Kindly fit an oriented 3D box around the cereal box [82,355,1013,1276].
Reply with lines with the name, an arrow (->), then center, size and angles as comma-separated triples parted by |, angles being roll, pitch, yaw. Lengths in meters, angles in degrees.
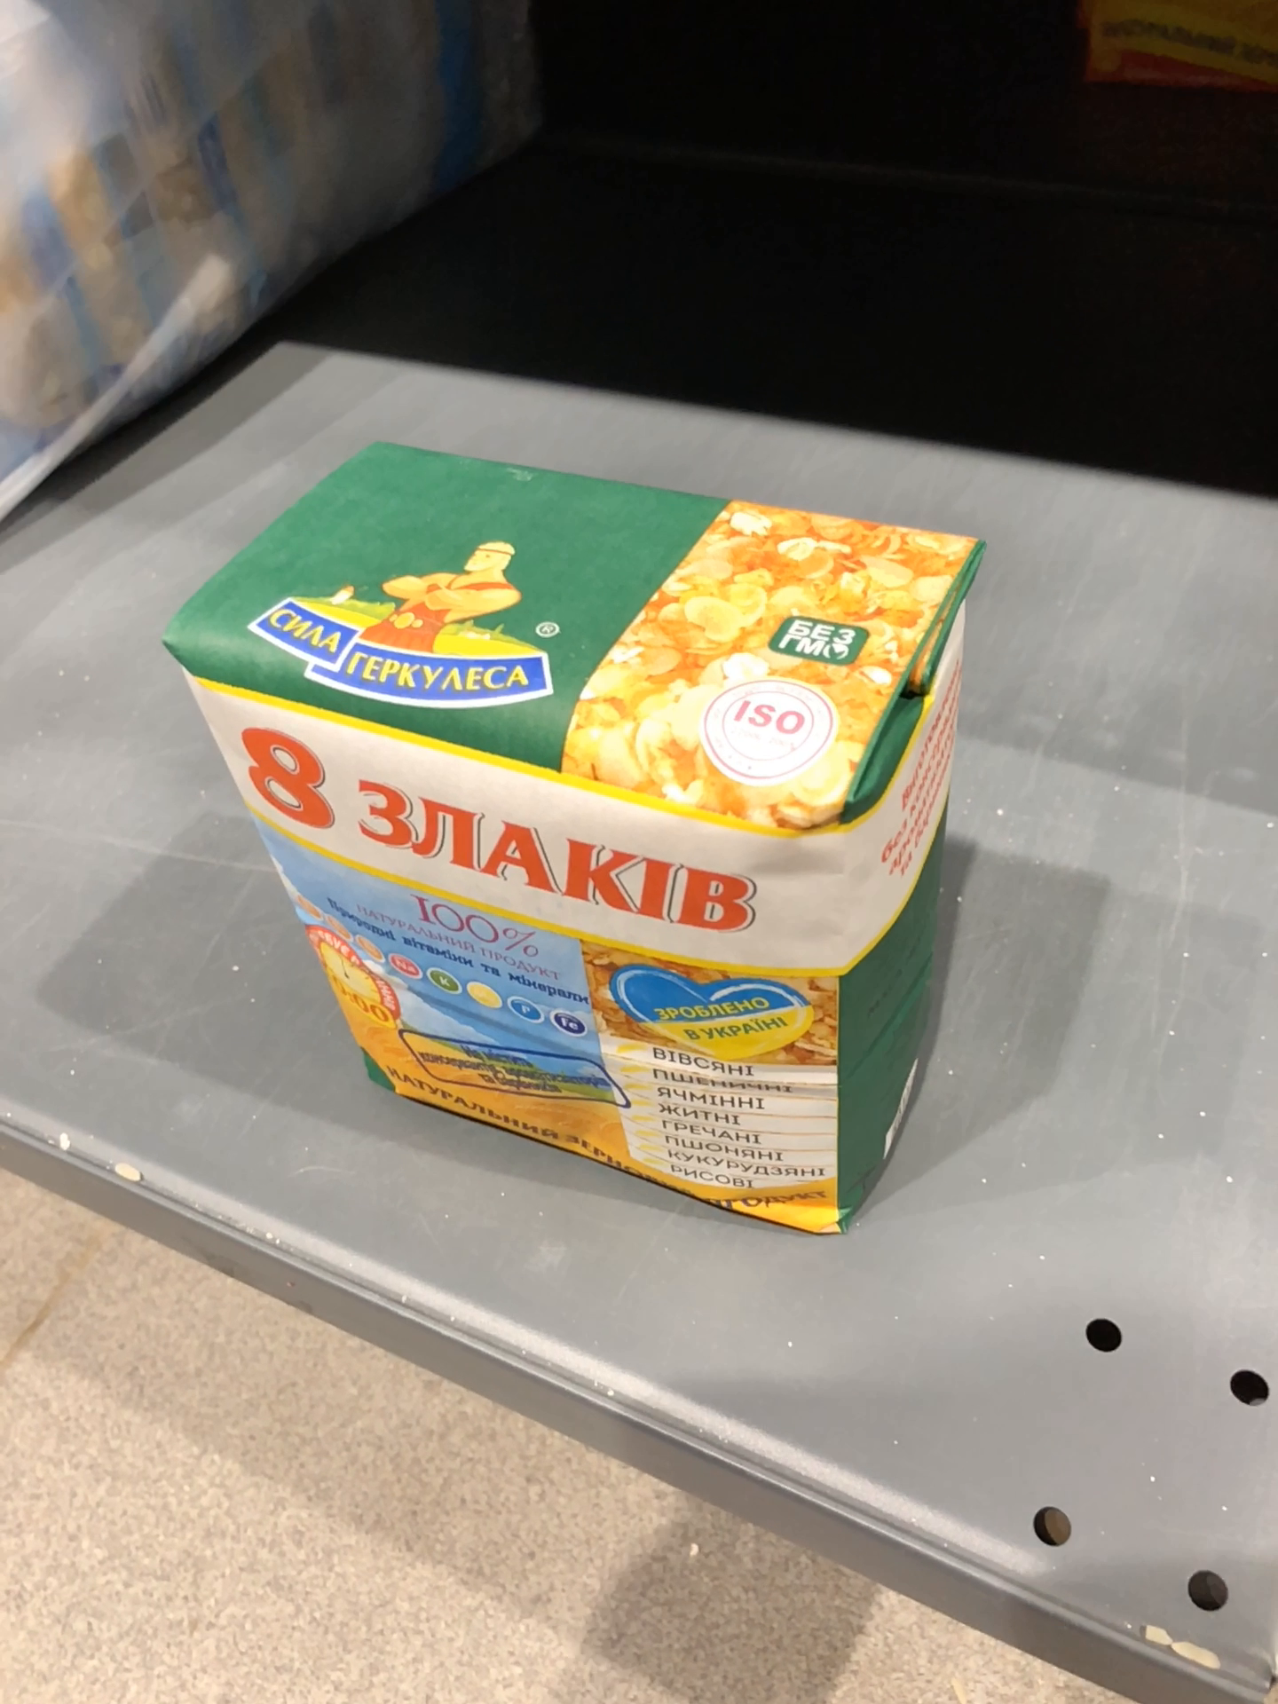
cereal box -> -0.007, -0.005, 0.258 | 0.120, 0.129, 0.070 | 15, 51, 20
